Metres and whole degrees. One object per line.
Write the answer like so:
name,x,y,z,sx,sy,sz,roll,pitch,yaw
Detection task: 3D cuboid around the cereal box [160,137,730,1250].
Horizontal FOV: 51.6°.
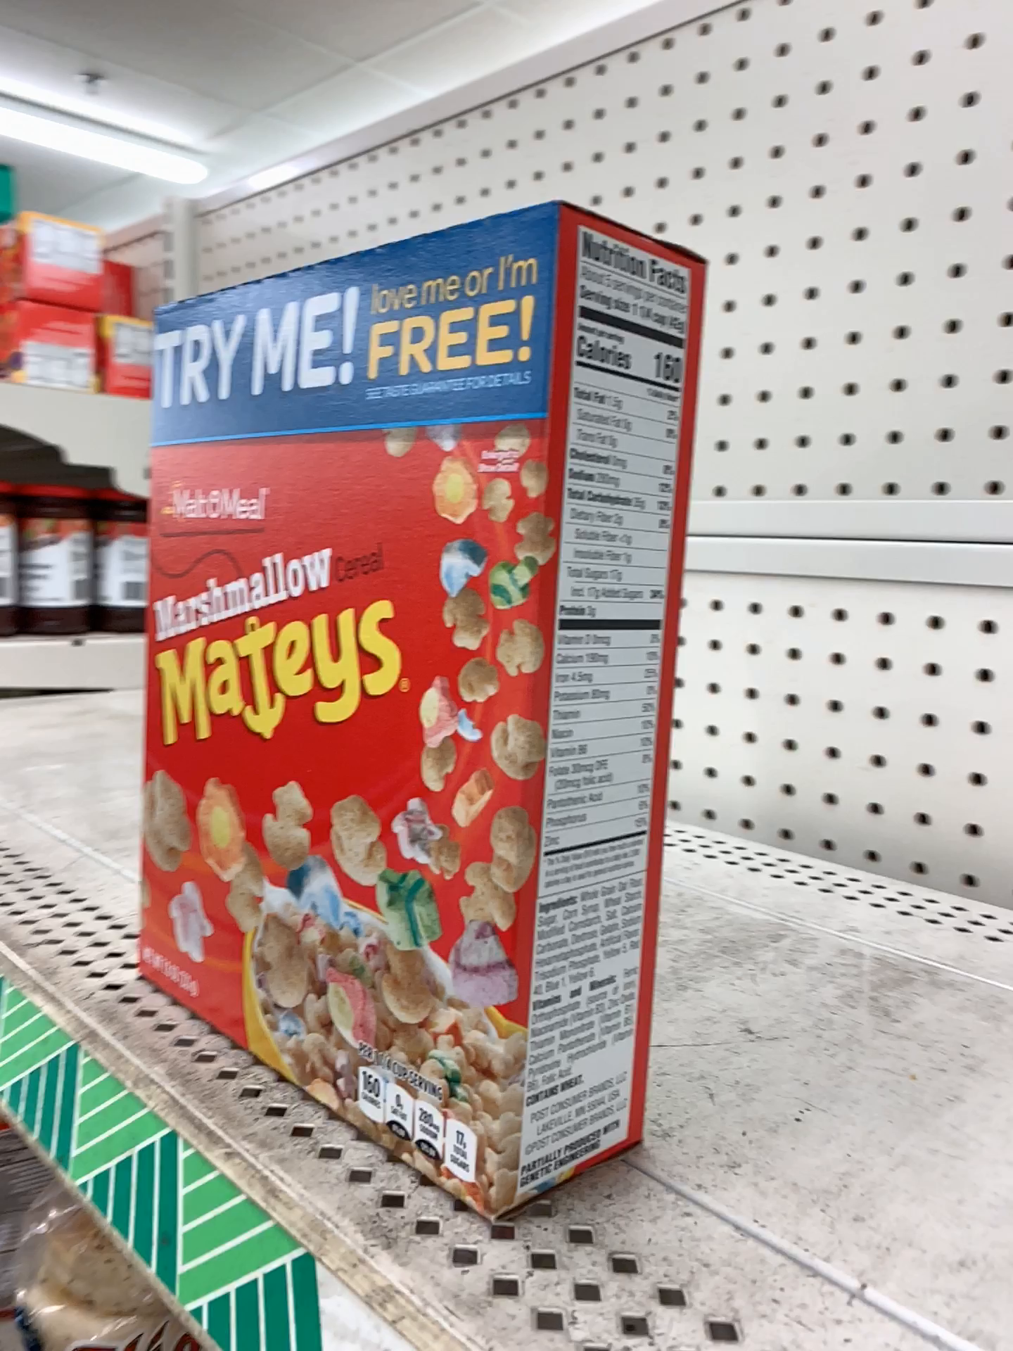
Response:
cereal box,-0.034,-0.002,0.297,0.050,0.230,0.180,-3,8,-43
